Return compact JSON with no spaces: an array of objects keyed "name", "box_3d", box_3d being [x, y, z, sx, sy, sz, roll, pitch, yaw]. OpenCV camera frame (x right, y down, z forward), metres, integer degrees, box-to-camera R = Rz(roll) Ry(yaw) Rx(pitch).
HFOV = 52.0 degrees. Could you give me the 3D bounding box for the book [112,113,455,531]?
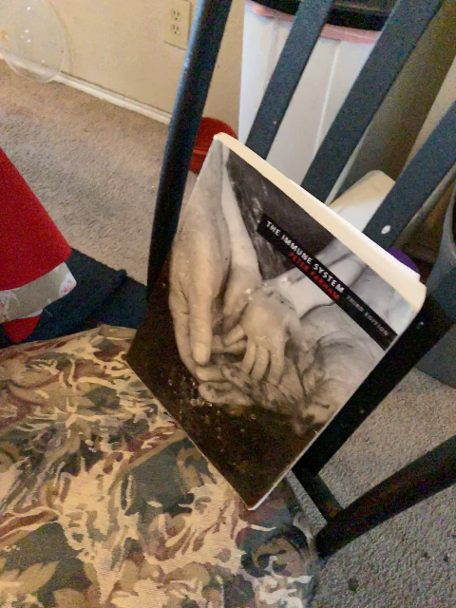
[{"name":"book","box_3d":[0.009,0.023,0.391,0.040,0.269,0.220,-17,53,-45]}]
